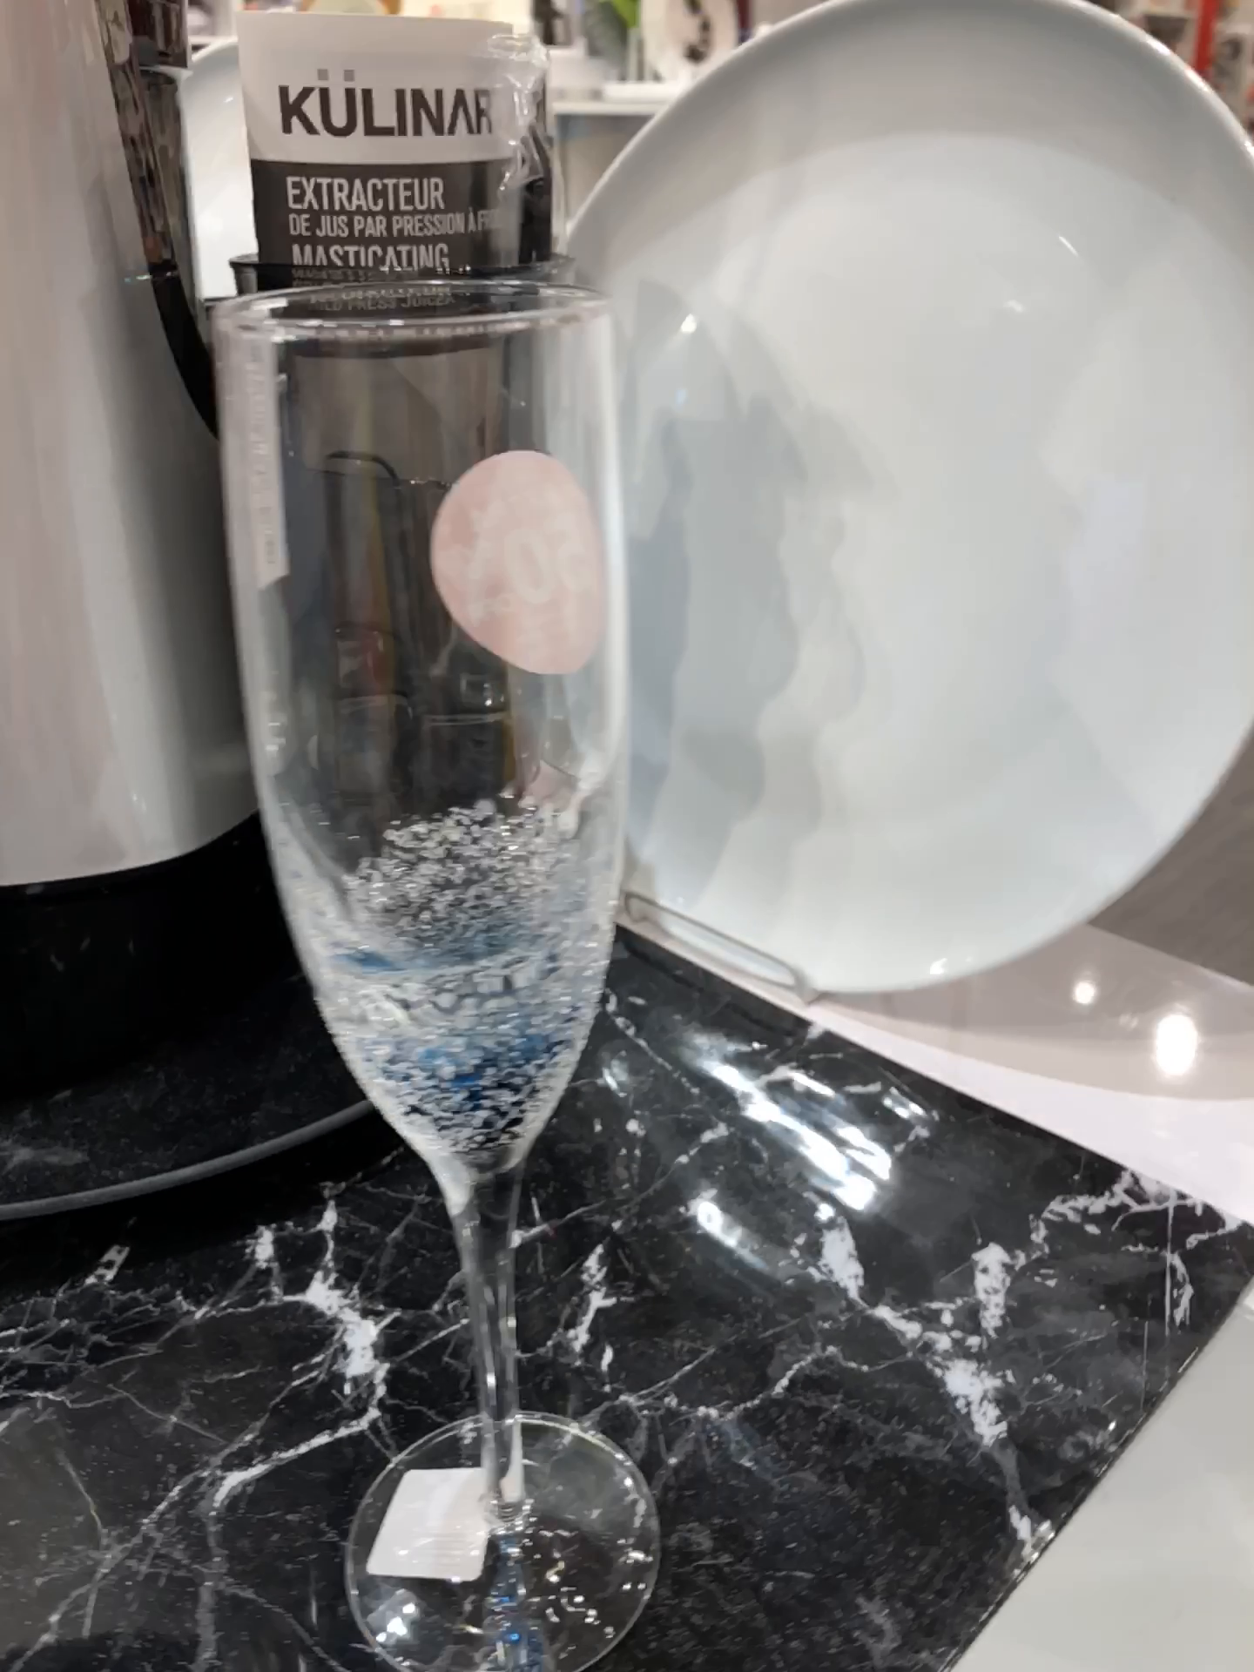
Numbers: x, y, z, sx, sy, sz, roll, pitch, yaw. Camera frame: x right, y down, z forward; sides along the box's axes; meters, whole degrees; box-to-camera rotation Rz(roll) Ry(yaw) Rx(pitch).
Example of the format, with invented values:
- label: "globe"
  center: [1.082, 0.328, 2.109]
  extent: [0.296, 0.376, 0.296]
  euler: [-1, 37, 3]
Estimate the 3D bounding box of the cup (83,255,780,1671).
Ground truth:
- label: "cup"
  center: [-0.027, 0.038, 0.241]
  extent: [0.070, 0.249, 0.070]
  euler: [-1, 26, 0]
